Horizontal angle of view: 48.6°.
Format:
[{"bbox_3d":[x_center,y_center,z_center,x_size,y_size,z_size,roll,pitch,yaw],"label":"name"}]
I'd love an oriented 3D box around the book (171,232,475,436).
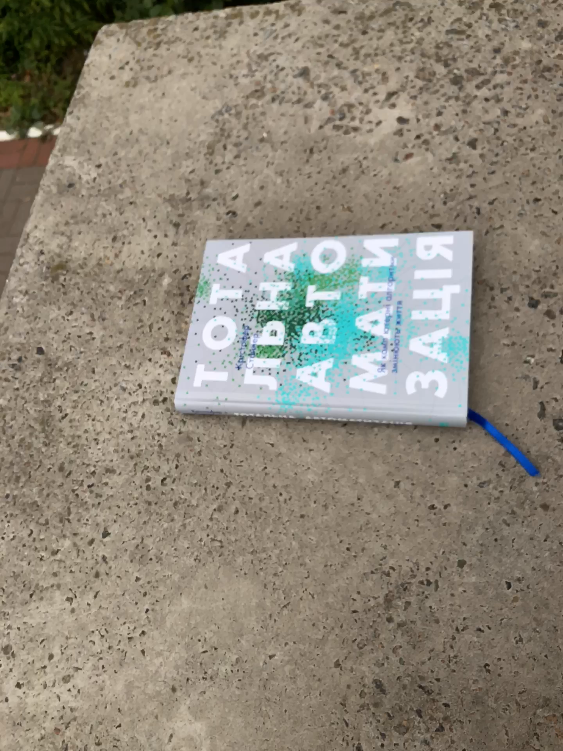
[{"bbox_3d":[0.034,-0.036,0.485,0.220,0.030,0.150,2,69,16],"label":"book"}]
